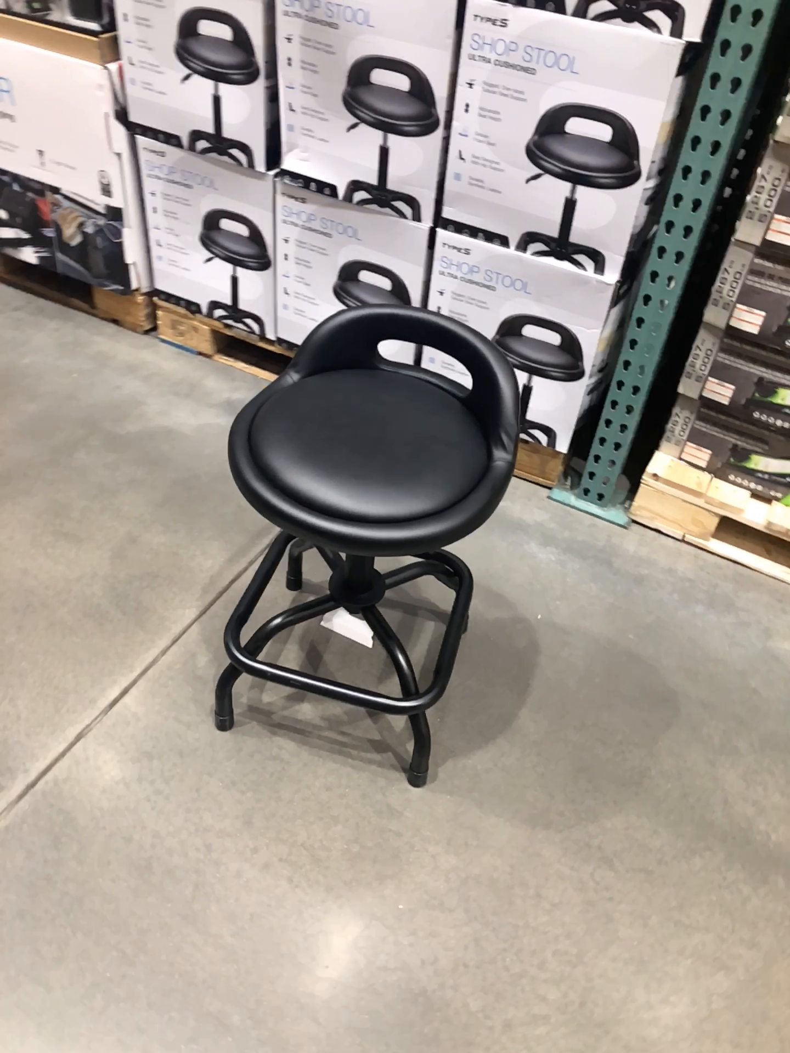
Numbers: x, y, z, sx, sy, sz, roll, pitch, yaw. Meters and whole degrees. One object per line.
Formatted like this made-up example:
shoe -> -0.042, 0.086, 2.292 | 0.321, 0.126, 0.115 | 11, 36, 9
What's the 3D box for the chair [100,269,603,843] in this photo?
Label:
chair -> -0.064, 0.033, 1.428 | 0.519, 0.627, 0.503 | 25, 45, 20
